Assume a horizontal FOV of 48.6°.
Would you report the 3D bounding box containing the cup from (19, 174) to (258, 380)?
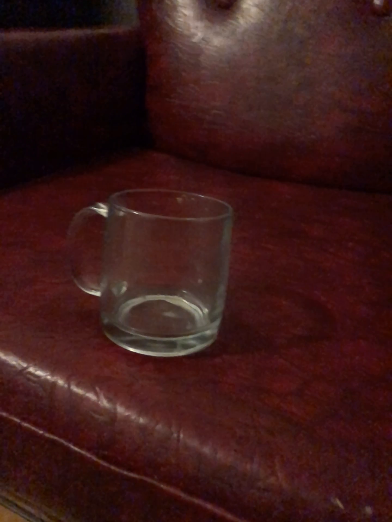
[{"bbox_3d":[-0.036,0.001,0.297,0.128,0.089,0.090,13,21,17],"label":"cup"}]
